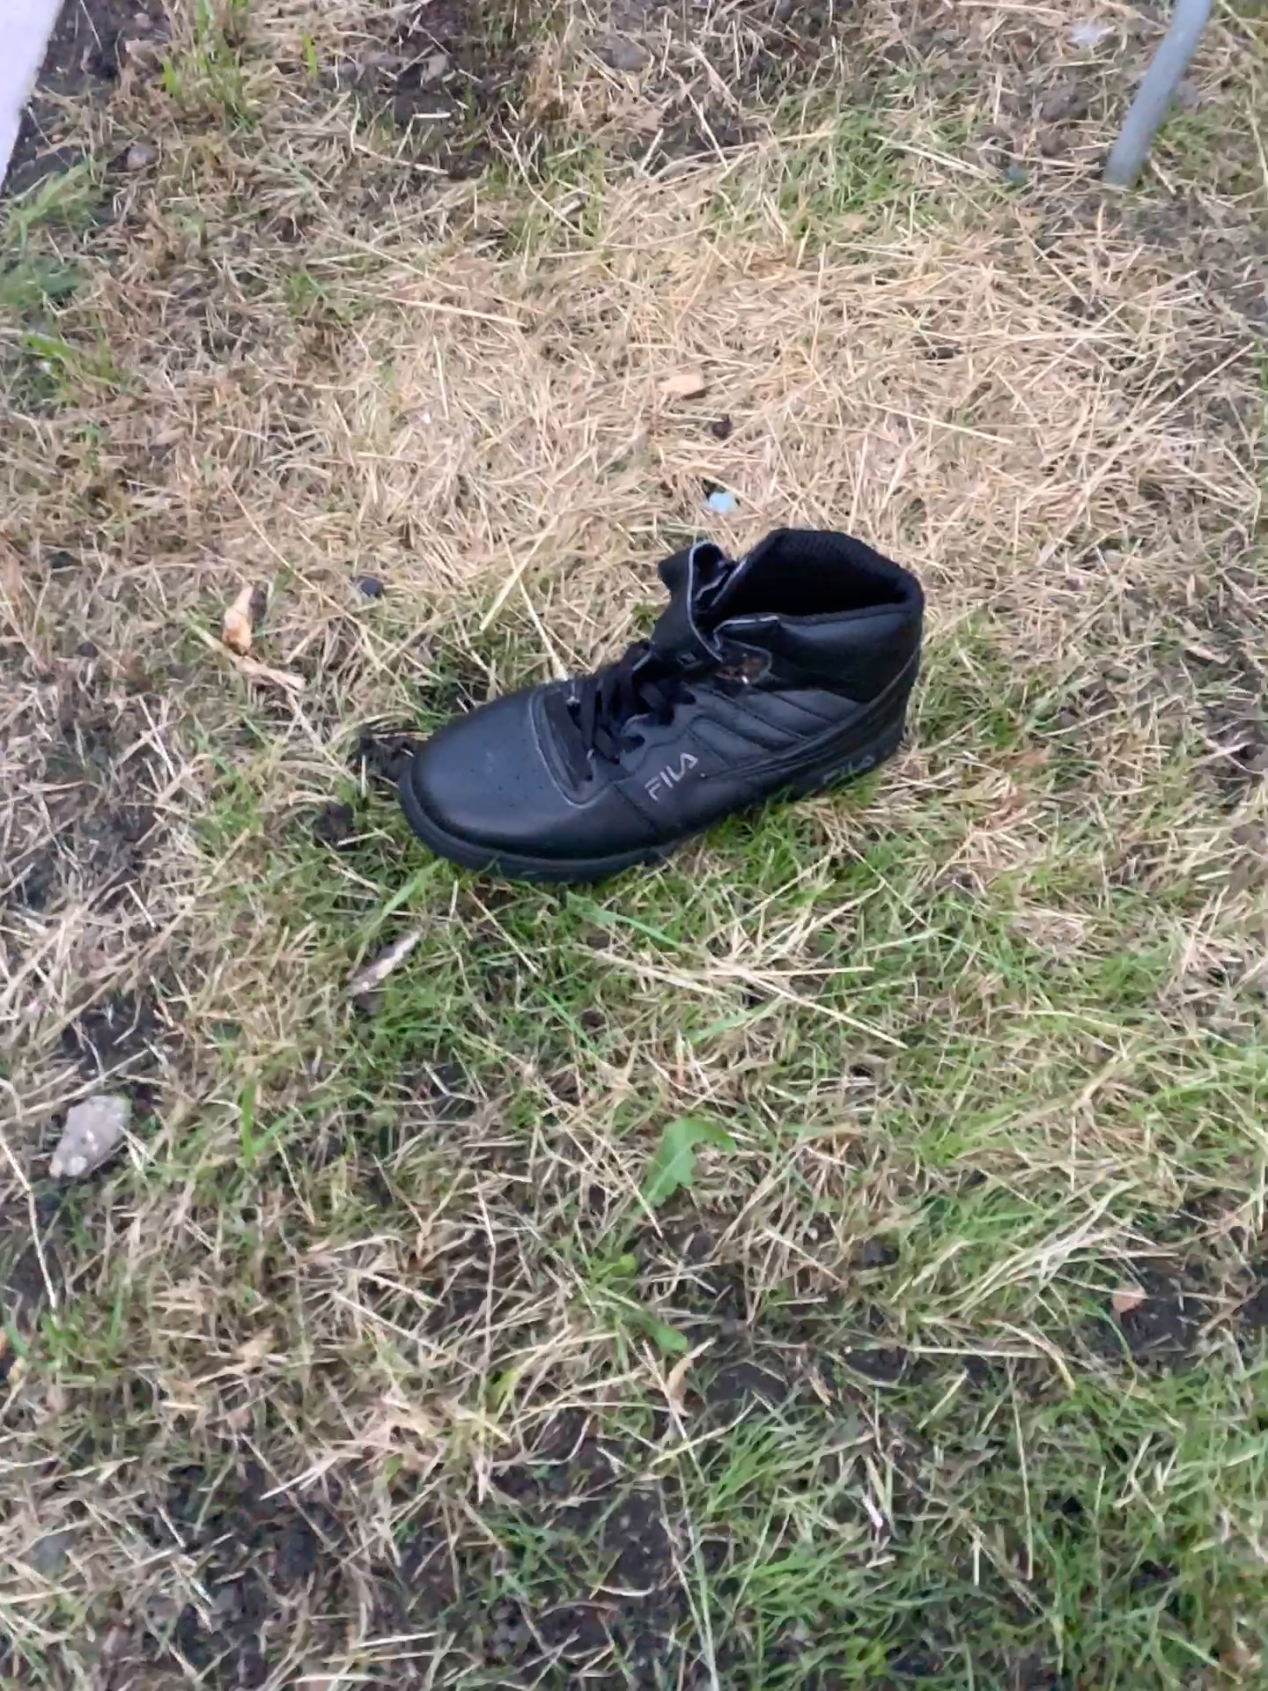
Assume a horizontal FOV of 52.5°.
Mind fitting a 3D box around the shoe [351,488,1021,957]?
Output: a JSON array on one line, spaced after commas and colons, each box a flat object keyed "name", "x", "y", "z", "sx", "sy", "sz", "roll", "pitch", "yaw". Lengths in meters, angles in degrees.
[{"name": "shoe", "x": 0.020, "y": -0.057, "z": 0.613, "sx": 0.270, "sy": 0.119, "sz": 0.110, "roll": -17, "pitch": 69, "yaw": -10}]
